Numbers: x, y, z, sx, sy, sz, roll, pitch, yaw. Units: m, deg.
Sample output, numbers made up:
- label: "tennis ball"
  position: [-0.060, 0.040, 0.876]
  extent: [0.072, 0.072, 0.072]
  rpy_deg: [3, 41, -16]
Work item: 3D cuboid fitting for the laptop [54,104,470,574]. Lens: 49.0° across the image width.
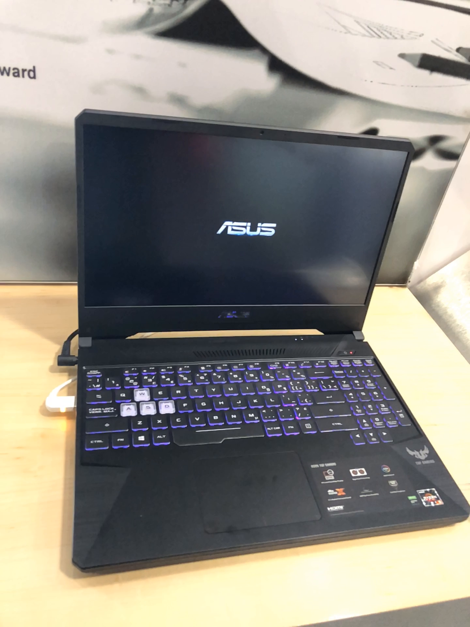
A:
- label: "laptop"
  position: [0.035, -0.003, 0.480]
  extent: [0.359, 0.245, 0.310]
  rpy_deg: [-1, 38, -16]
